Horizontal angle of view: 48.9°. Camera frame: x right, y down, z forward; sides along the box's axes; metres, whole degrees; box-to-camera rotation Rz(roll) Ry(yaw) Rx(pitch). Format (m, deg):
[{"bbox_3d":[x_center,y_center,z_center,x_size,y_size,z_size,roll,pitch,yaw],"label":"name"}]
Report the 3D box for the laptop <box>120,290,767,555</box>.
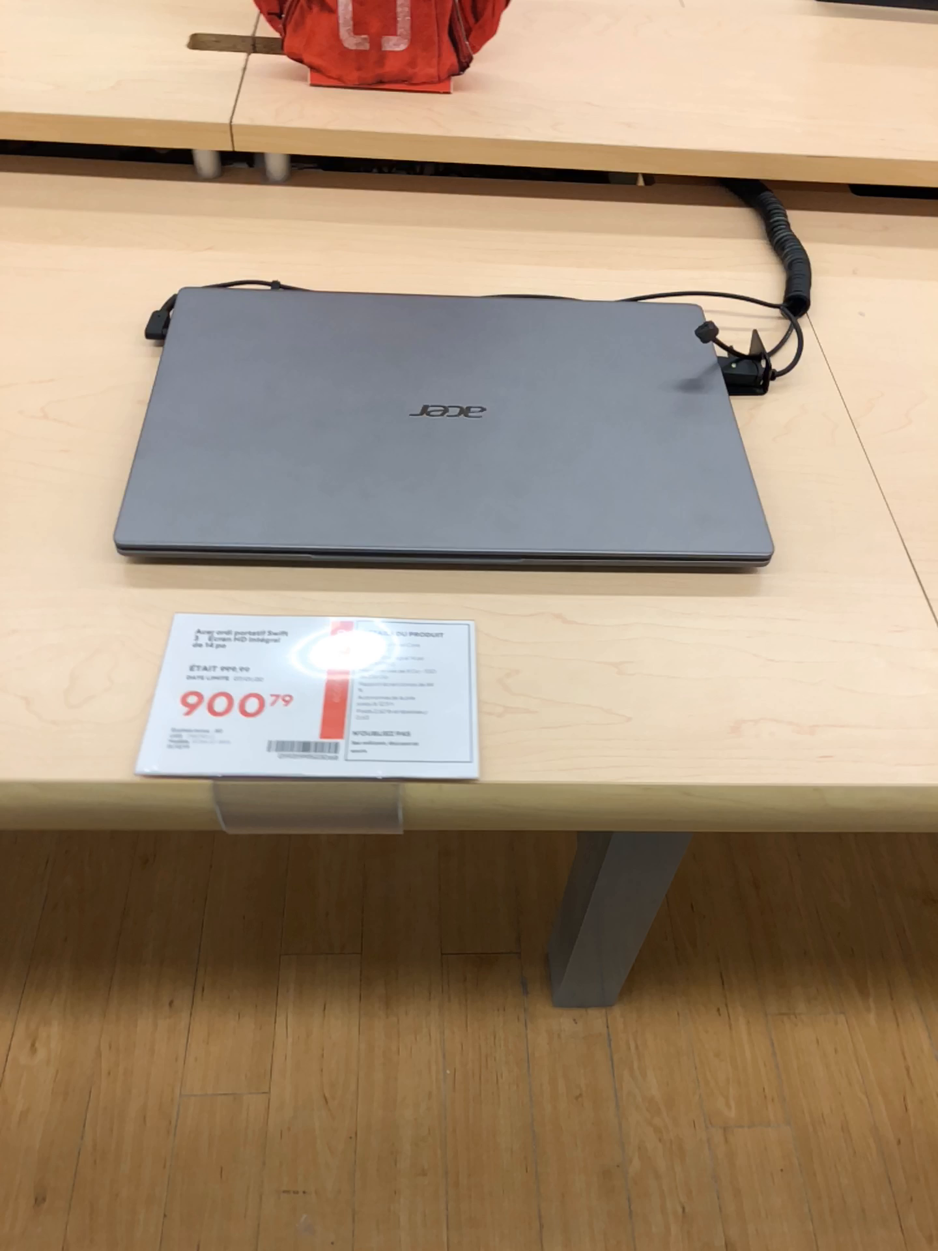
[{"bbox_3d":[-0.012,-0.116,0.552,0.306,0.001,0.201,1,50,-4],"label":"laptop"}]
